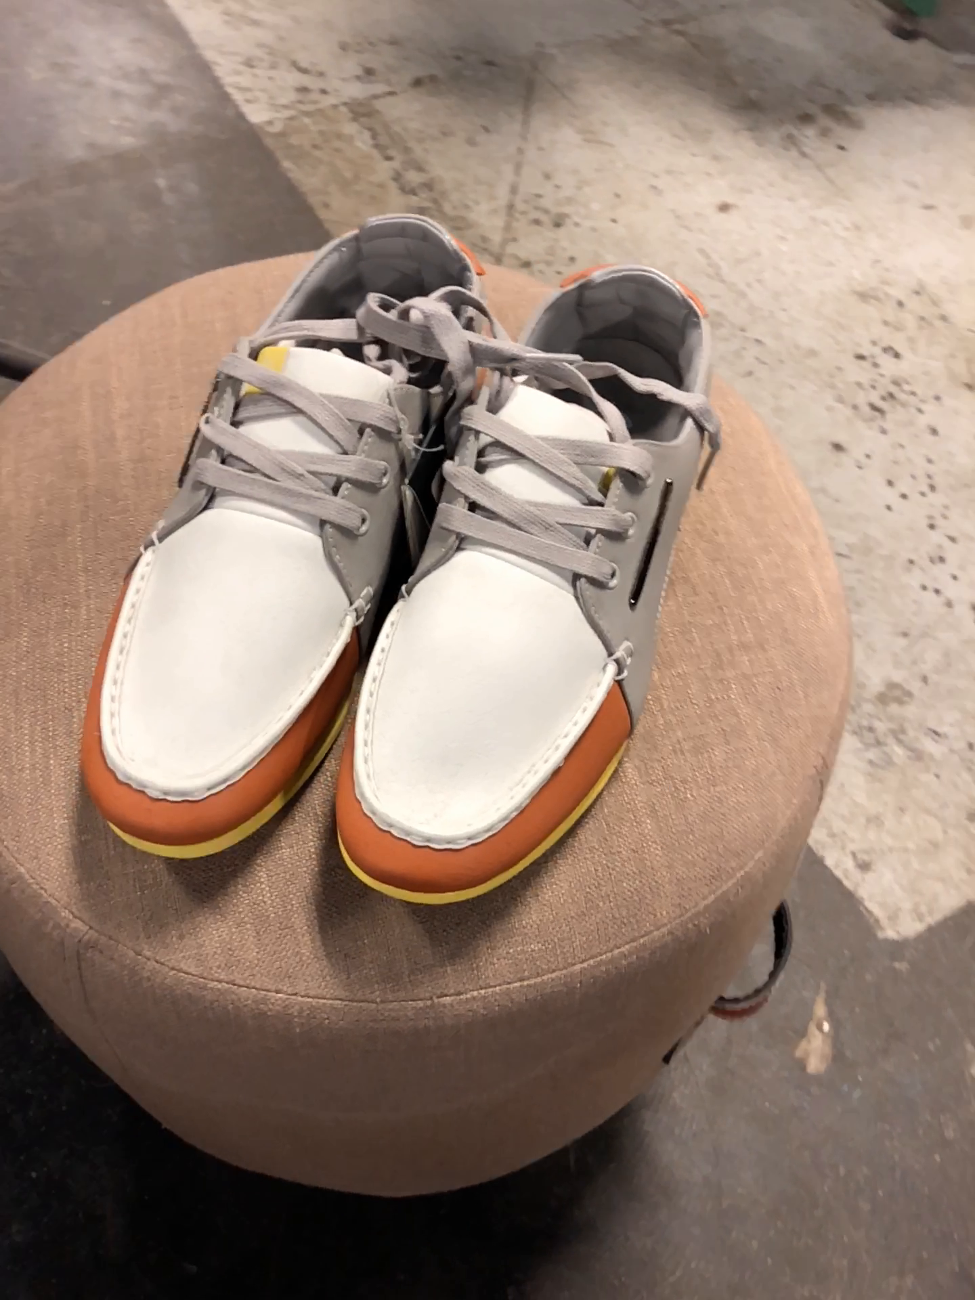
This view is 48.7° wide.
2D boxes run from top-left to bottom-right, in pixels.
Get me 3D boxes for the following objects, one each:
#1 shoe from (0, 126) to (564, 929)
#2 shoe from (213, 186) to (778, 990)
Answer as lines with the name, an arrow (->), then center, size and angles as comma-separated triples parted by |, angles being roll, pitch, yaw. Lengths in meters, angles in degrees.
shoe -> -0.065, -0.060, 0.395 | 0.100, 0.099, 0.282 | 17, 57, 7
shoe -> 0.015, -0.033, 0.370 | 0.100, 0.099, 0.251 | 17, 57, 7
